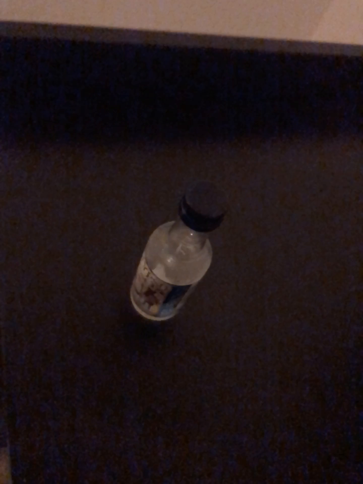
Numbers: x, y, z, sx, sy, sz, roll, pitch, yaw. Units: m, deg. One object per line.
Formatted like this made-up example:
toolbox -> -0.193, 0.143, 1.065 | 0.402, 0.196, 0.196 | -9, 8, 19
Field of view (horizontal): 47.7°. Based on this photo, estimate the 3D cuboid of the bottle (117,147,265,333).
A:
bottle -> -0.004, 0.005, 0.201 | 0.036, 0.104, 0.040 | -8, 63, -21
